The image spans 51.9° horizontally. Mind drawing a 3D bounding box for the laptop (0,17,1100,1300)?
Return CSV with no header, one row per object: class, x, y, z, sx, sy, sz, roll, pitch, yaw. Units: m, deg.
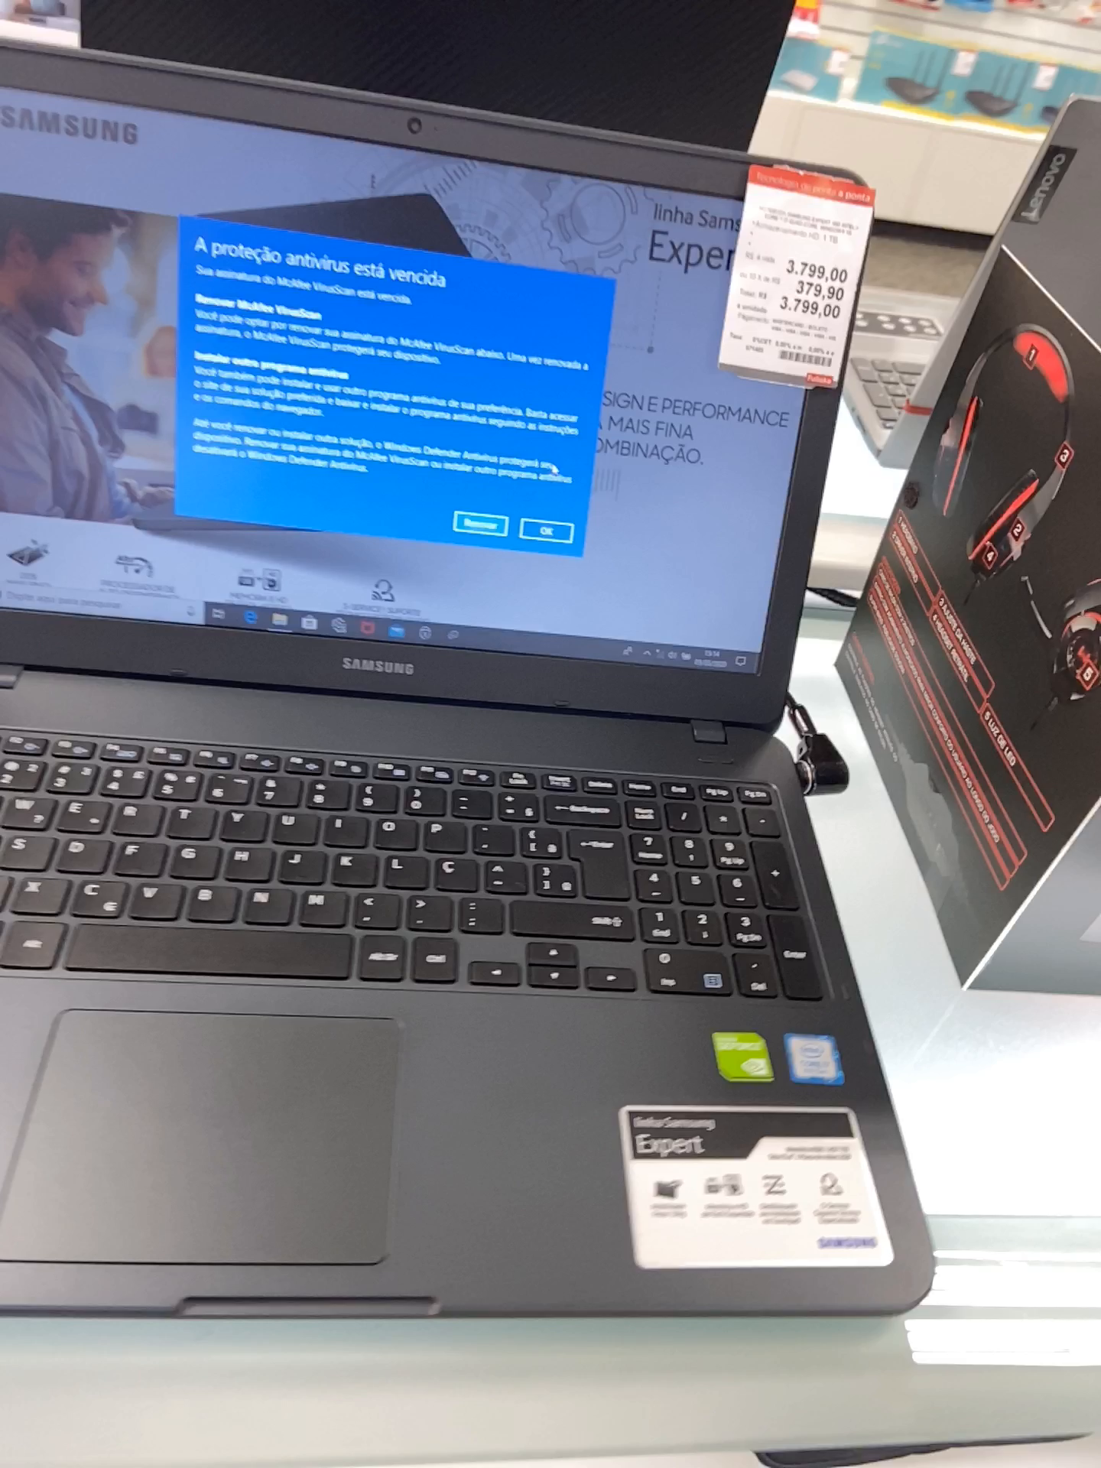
laptop,-0.063,-0.046,0.384,0.371,0.207,0.373,4,44,-9
